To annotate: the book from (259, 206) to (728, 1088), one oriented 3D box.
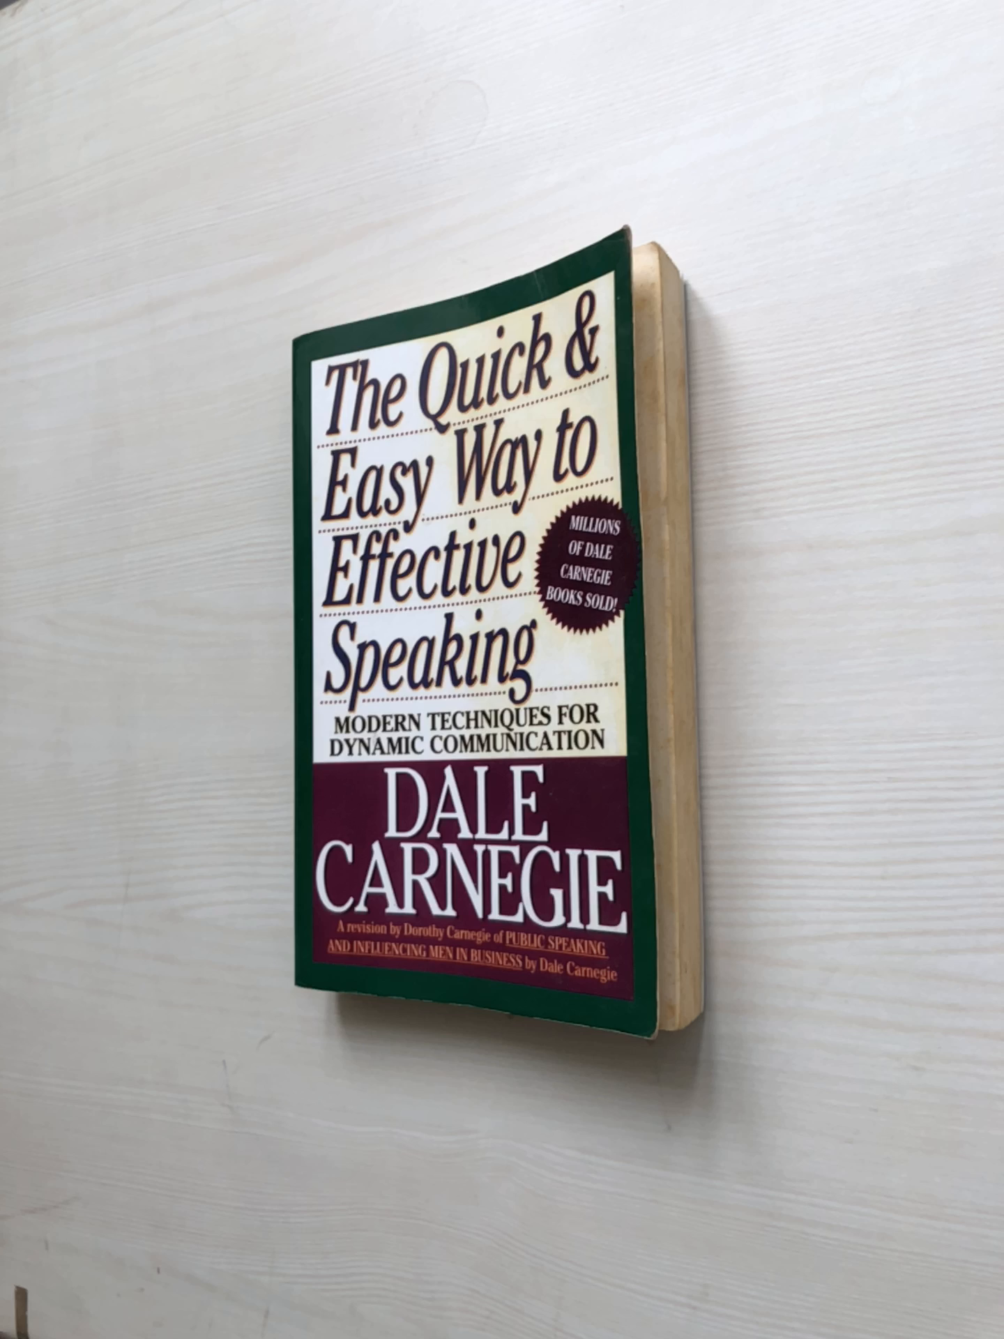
[{"bbox_3d":[-0.005,-0.004,0.276,0.110,0.040,0.180,-3,85,35],"label":"book"}]
